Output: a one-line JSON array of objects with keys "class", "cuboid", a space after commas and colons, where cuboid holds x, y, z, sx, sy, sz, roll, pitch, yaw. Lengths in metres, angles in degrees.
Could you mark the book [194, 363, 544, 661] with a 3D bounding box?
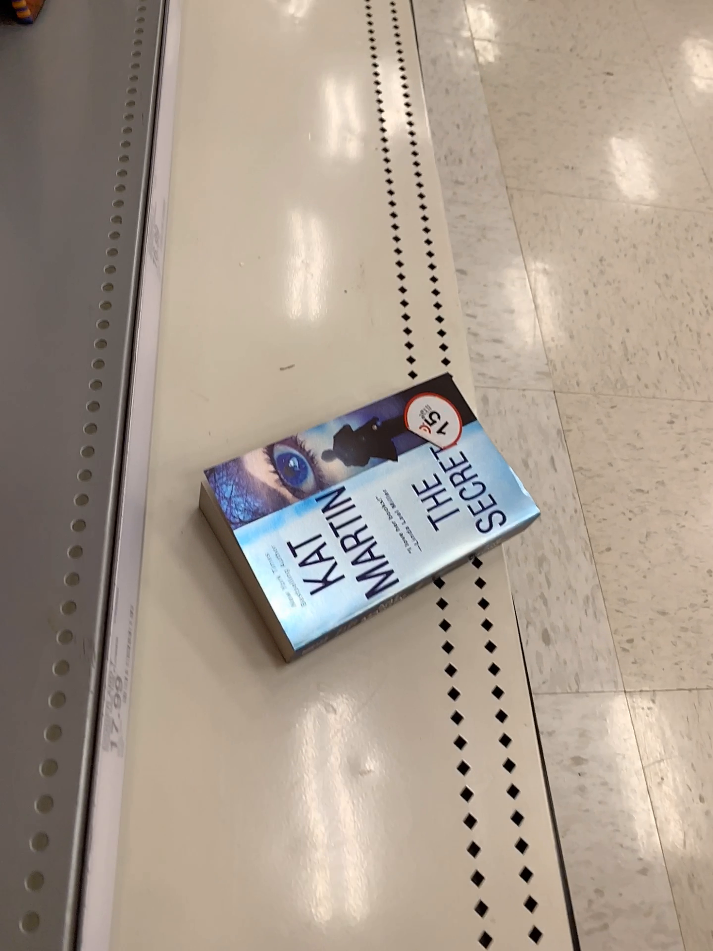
[{"class": "book", "cuboid": [0.008, 0.014, 0.416, 0.164, 0.040, 0.105, -25, 74, -25]}]
